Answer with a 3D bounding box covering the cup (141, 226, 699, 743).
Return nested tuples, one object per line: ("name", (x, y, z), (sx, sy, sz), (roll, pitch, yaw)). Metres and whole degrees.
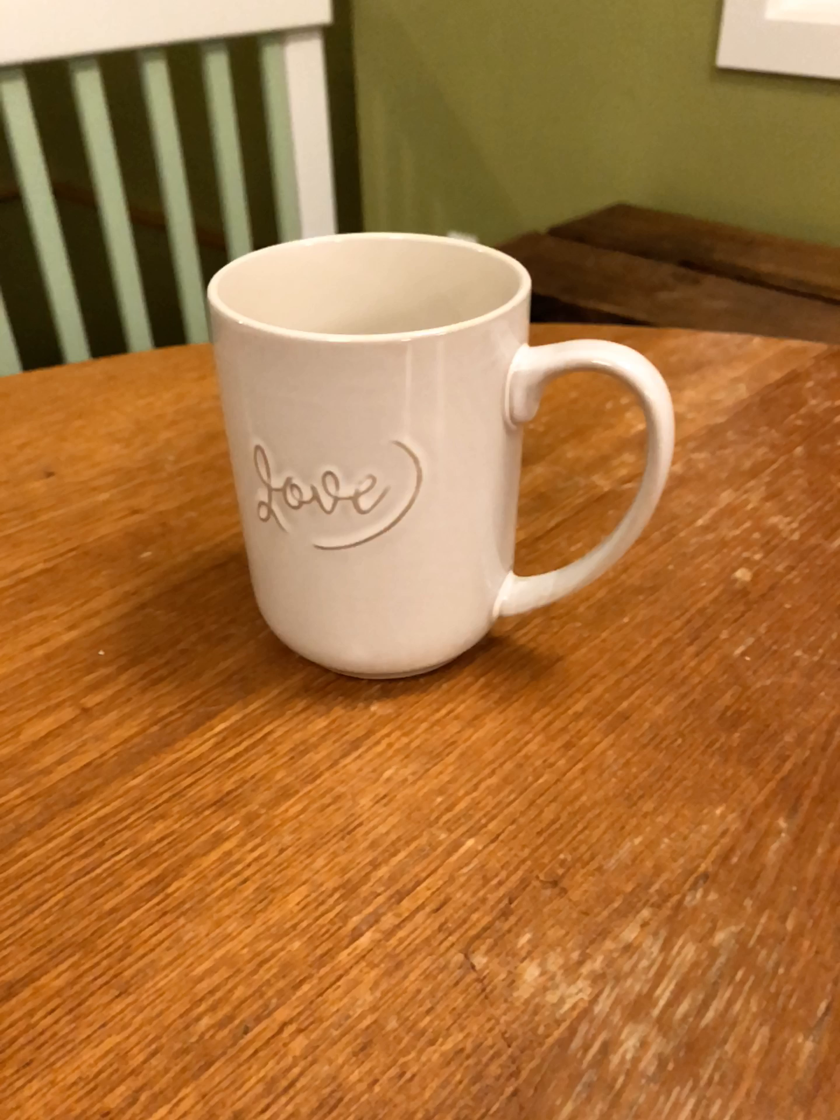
("cup", (0.006, -0.027, 0.294), (0.134, 0.123, 0.092), (5, 35, 9))
